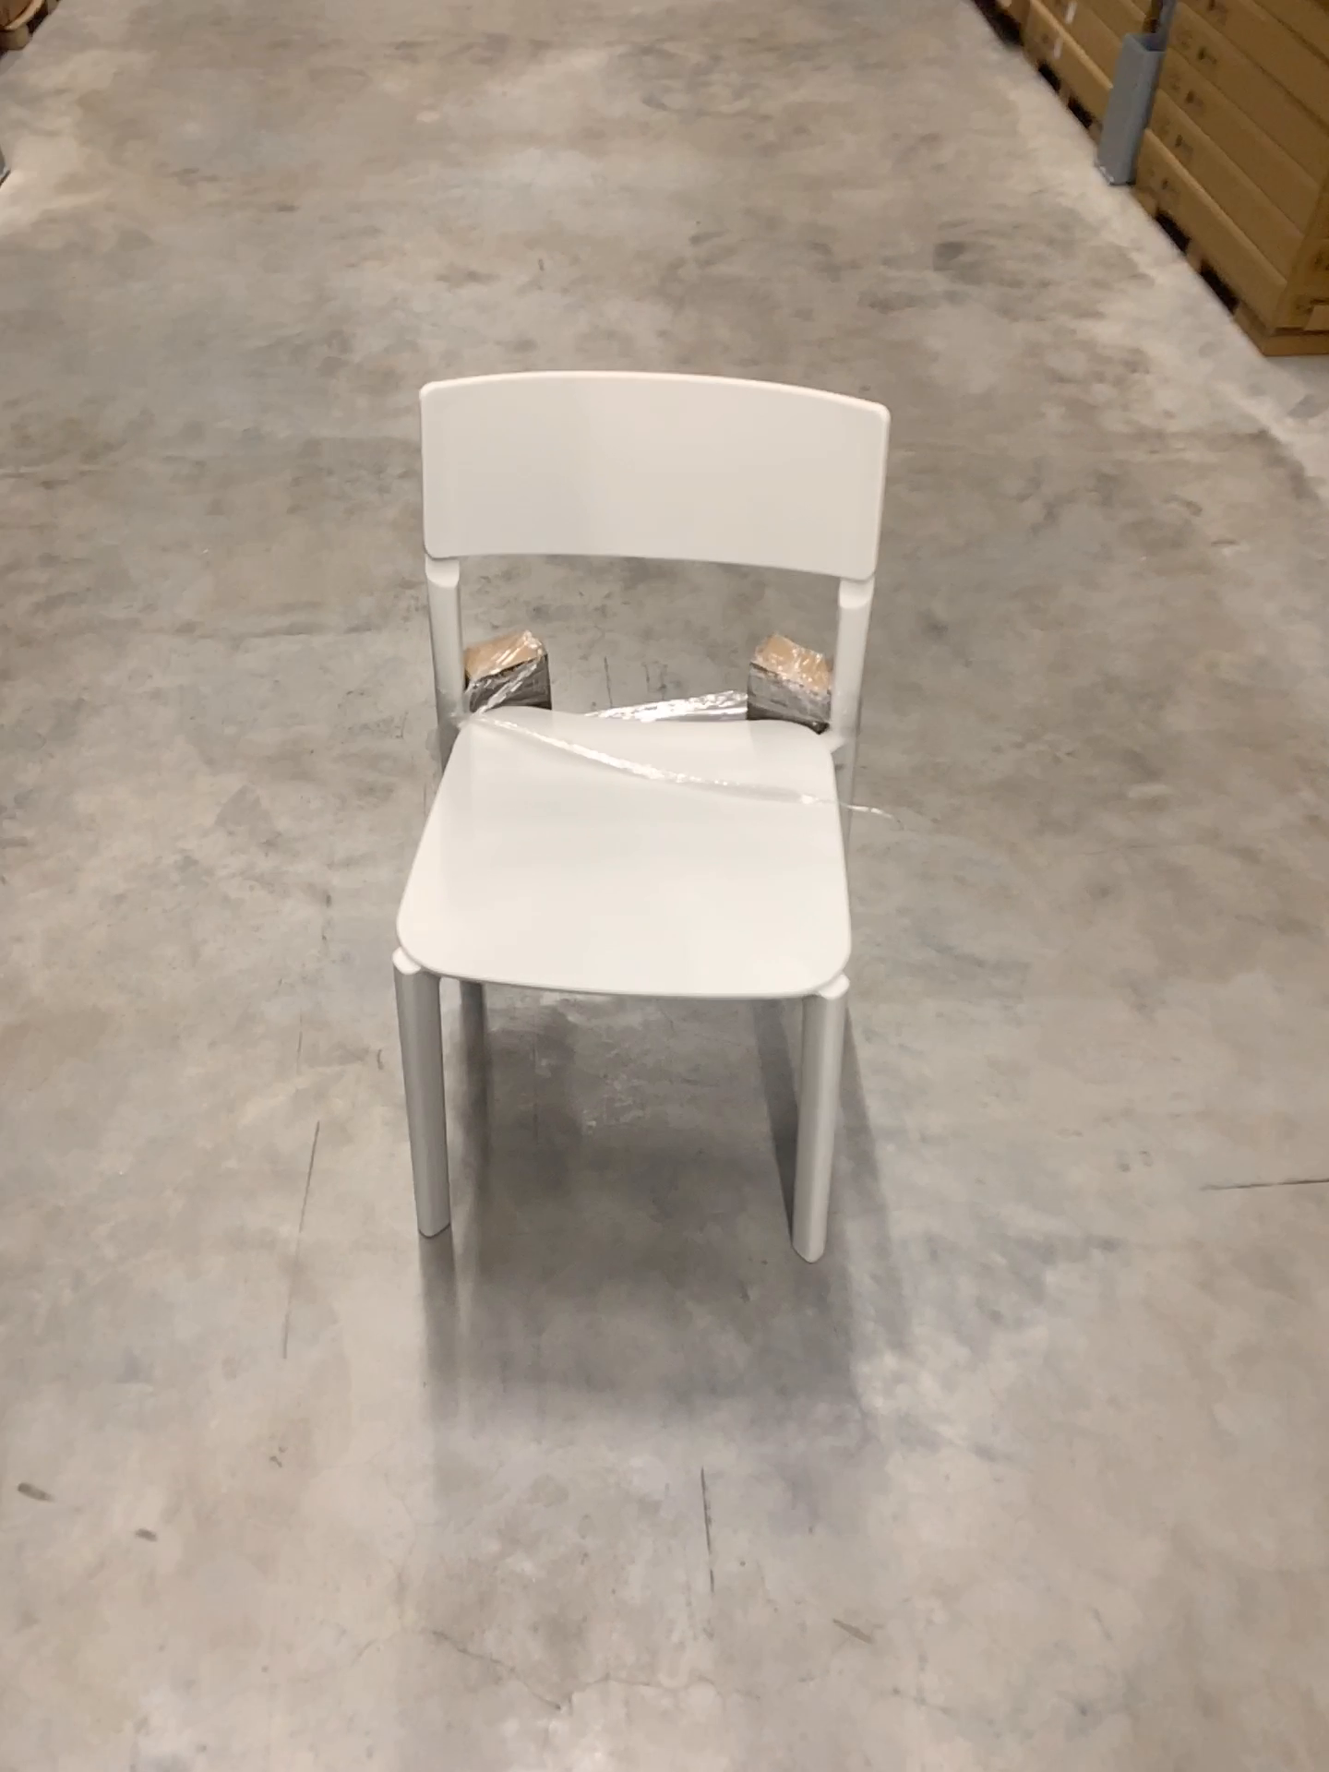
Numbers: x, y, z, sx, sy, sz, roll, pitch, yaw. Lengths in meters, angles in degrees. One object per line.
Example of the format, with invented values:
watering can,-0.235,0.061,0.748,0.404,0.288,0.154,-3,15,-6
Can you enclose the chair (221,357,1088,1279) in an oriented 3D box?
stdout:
chair,-0.005,-0.046,1.214,0.520,0.618,0.532,2,47,0
